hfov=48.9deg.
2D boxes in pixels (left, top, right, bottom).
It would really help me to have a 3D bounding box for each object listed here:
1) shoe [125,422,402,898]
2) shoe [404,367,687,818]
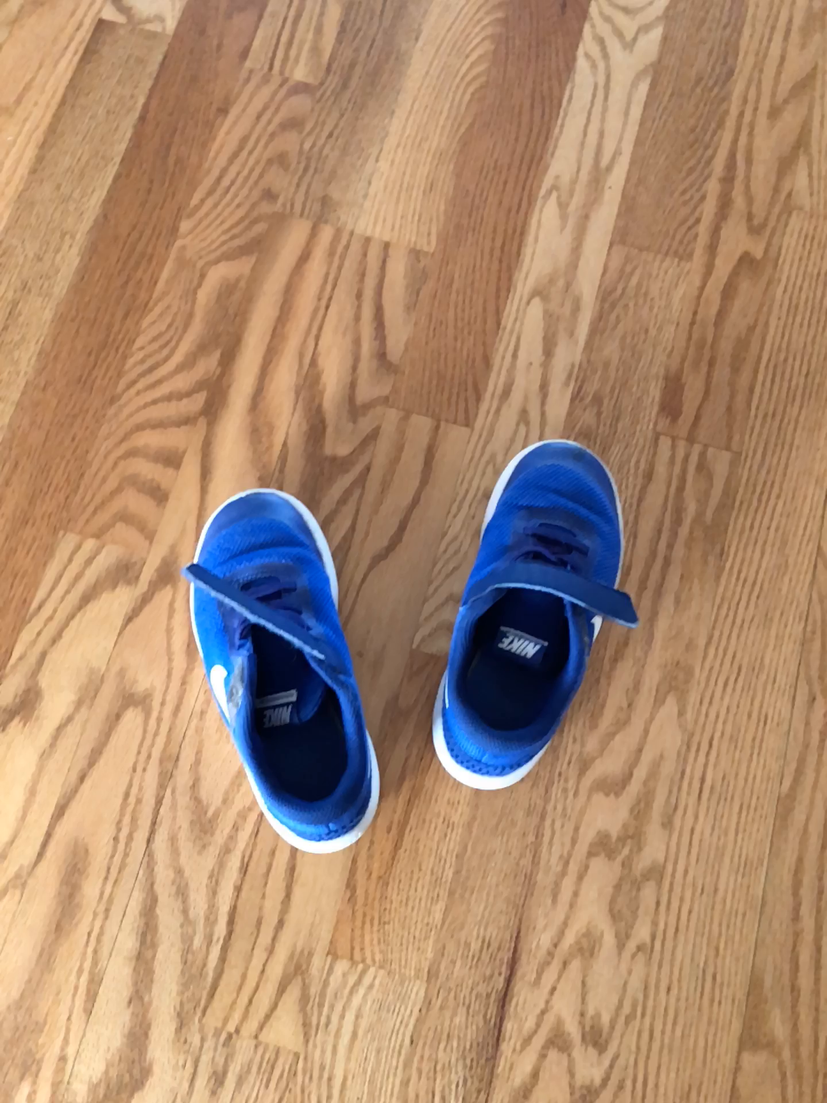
[{"bbox_3d":[-0.077,0.056,0.481,0.093,0.092,0.214,-13,75,-5],"label":"shoe"},{"bbox_3d":[0.070,0.025,0.499,0.093,0.092,0.214,16,74,3],"label":"shoe"}]
